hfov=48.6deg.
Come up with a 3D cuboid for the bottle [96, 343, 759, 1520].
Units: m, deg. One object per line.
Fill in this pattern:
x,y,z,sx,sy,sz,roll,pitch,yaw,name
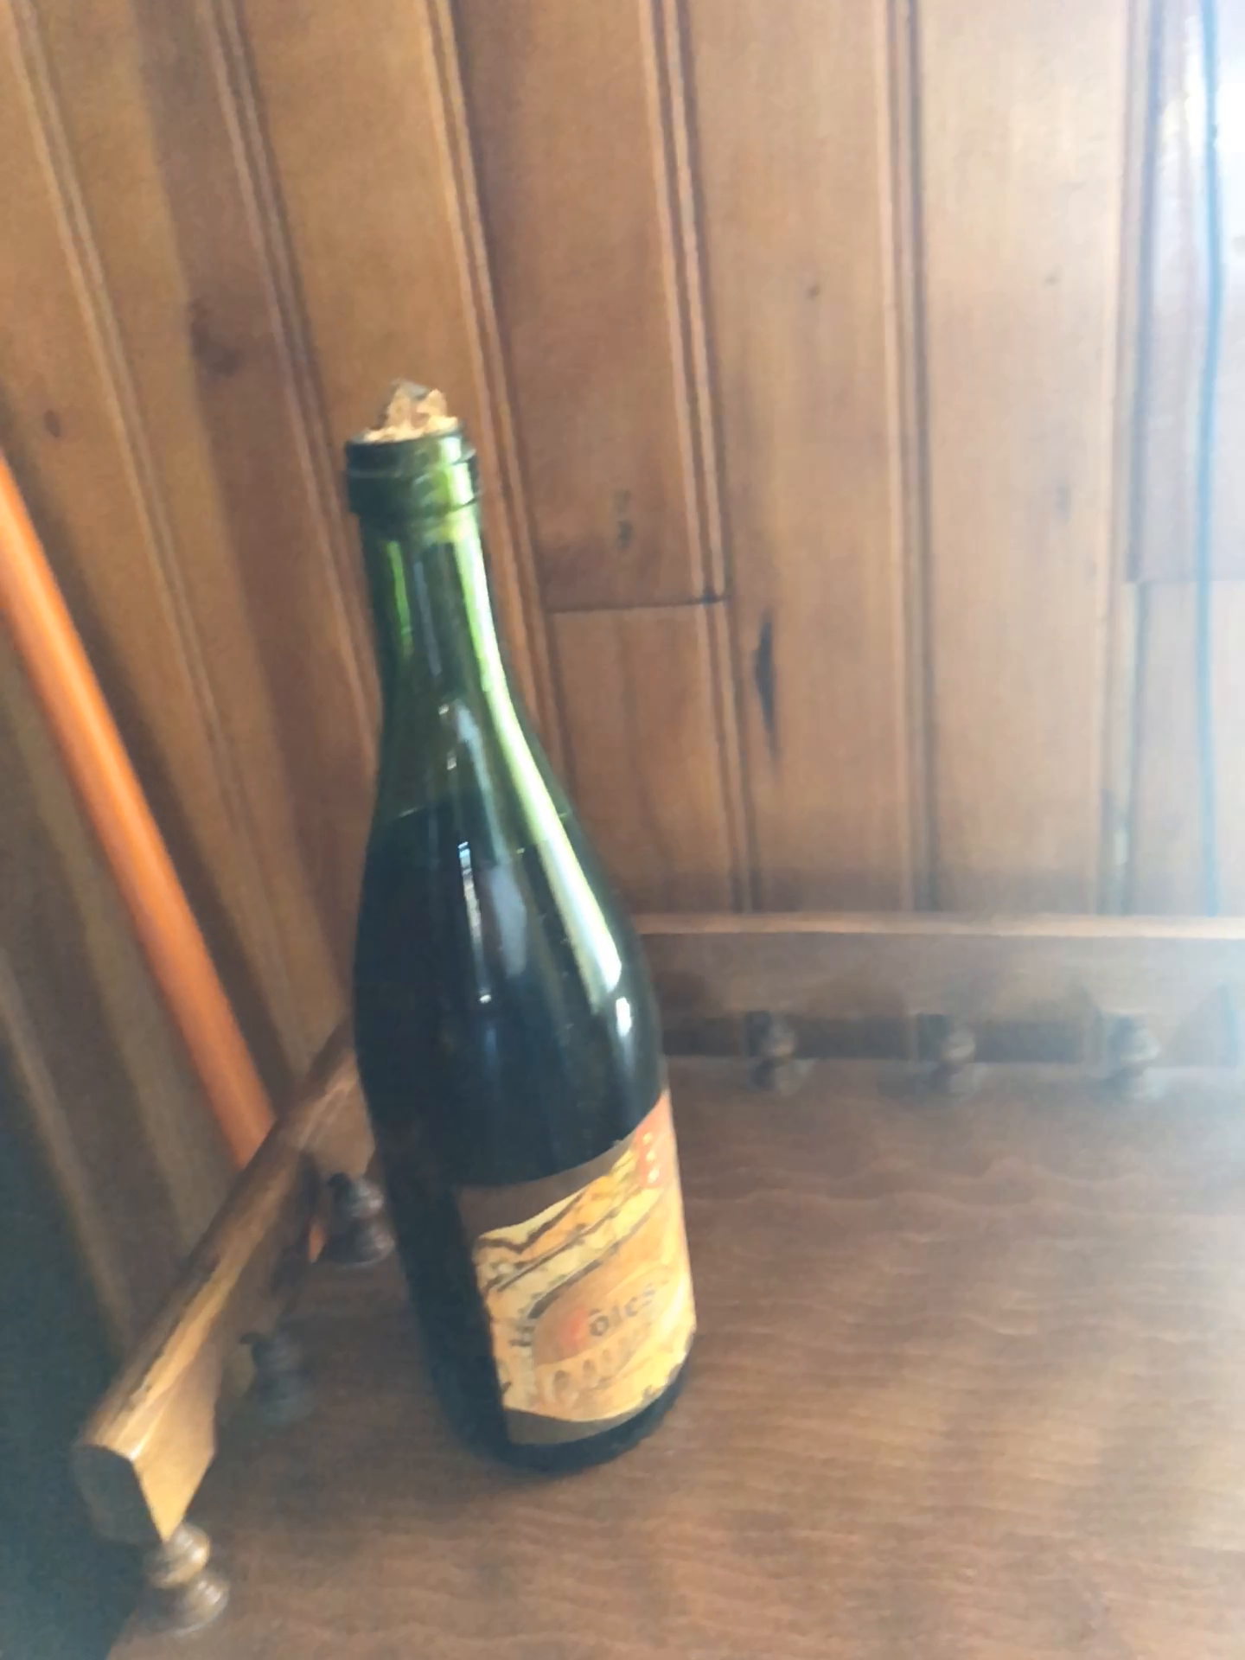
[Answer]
-0.029,0.032,0.351,0.090,0.278,0.091,-6,26,3,bottle
